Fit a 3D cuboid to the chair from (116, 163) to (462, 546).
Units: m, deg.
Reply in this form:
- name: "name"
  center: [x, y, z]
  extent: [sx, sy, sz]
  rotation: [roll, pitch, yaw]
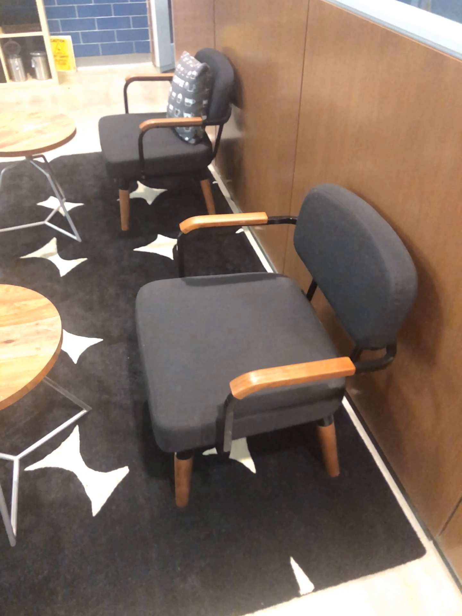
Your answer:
- name: "chair"
  center: [0.076, 0.091, 1.420]
  extent: [0.681, 0.714, 0.685]
  rotation: [-6, 40, -13]

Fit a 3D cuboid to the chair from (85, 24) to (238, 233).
- name: "chair"
  center: [-0.357, -0.878, 2.431]
  extent: [0.571, 0.714, 0.735]
  rotation: [-6, 40, -13]
